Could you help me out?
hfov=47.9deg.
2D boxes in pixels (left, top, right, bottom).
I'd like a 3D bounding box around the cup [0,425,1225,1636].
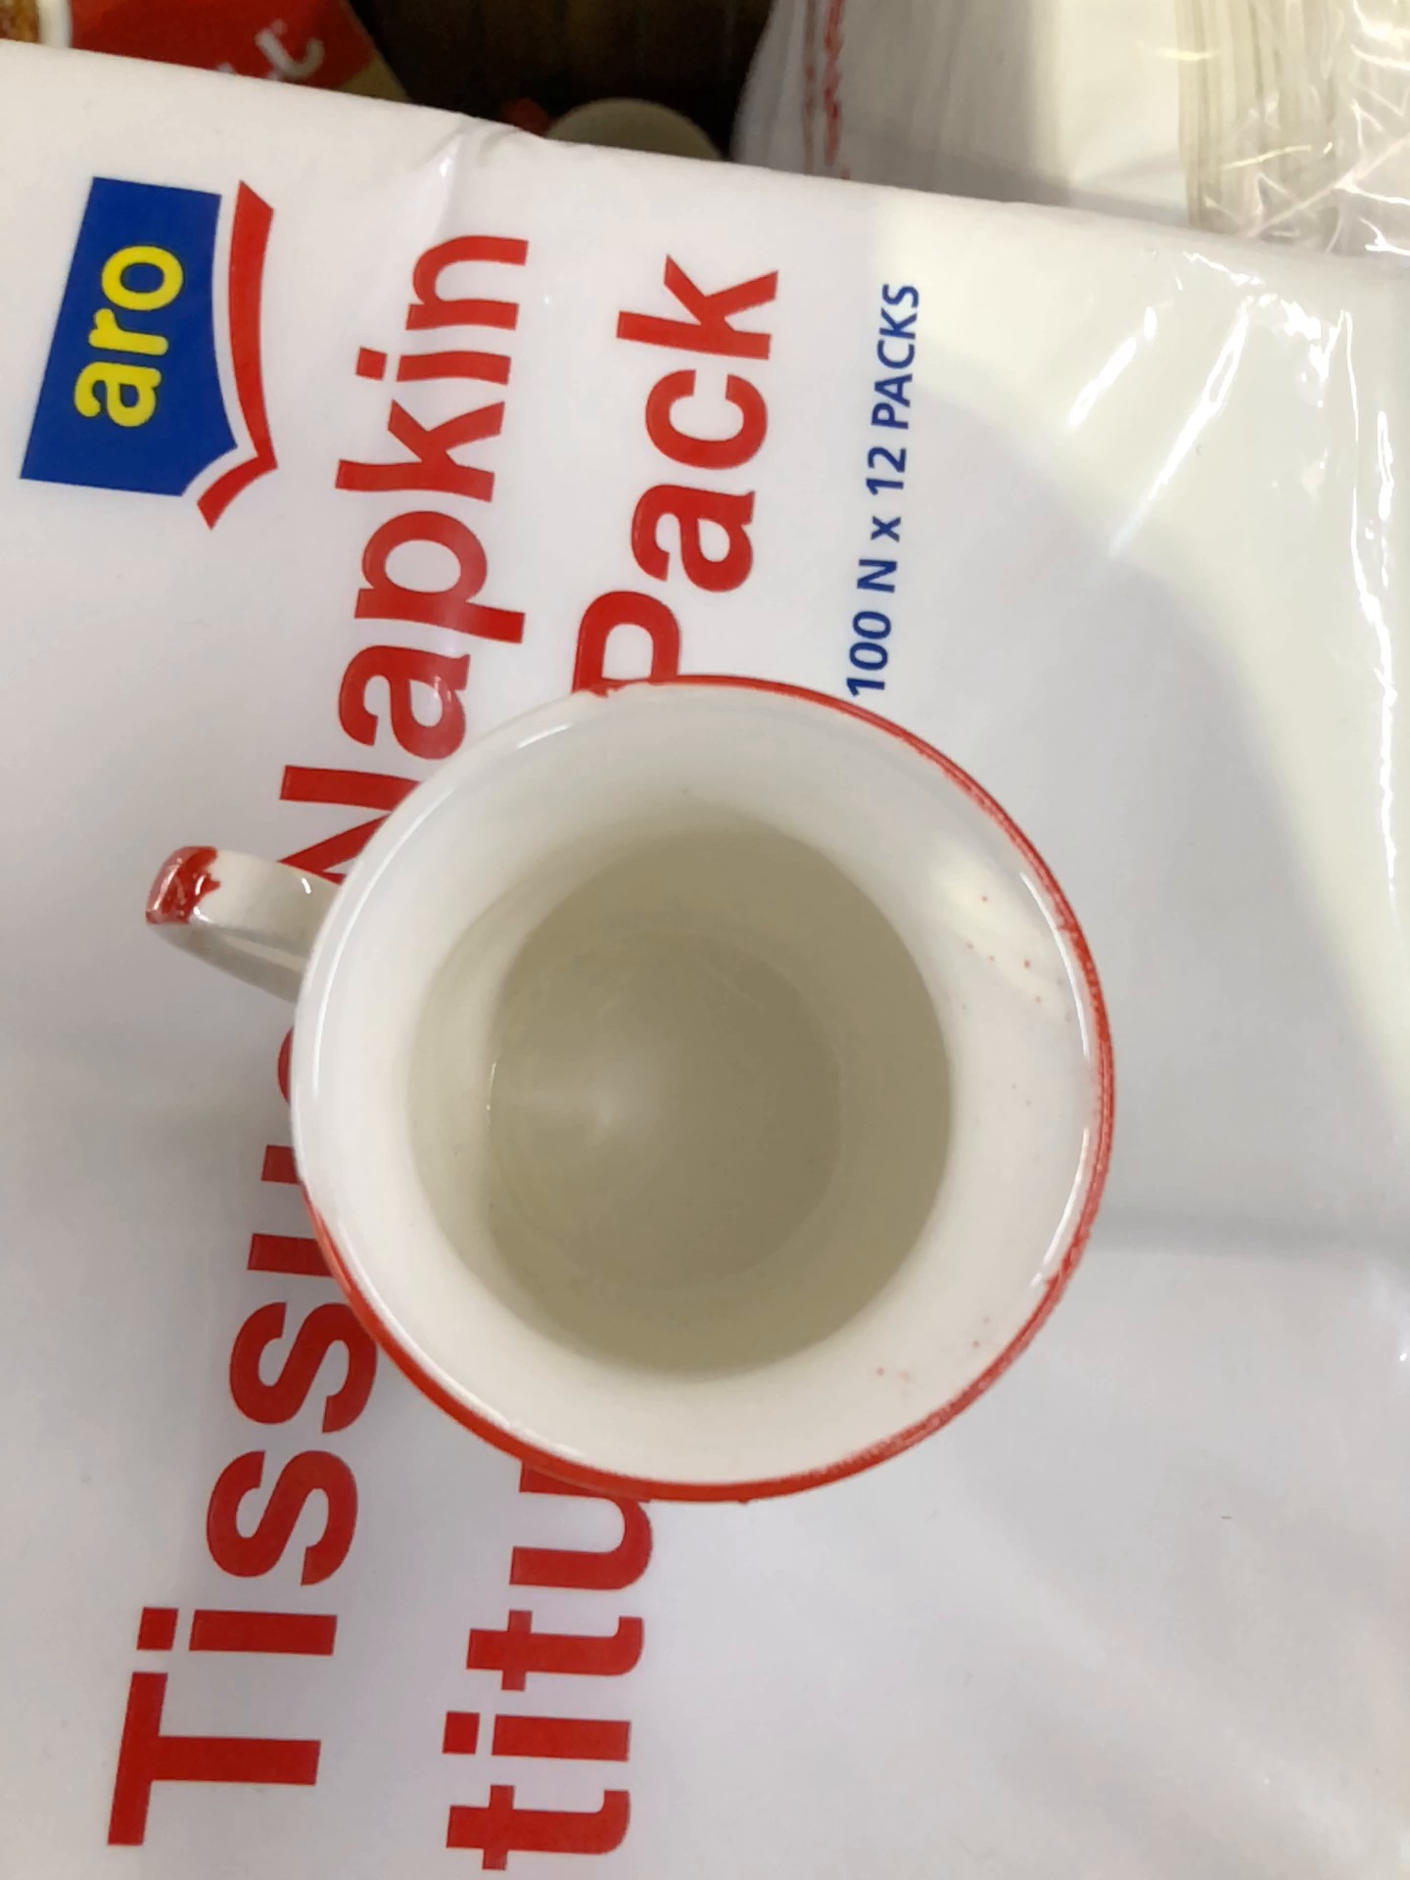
[{"bbox_3d":[-0.013,0.009,0.152,0.090,0.060,0.070,17,81,-1],"label":"cup"}]
